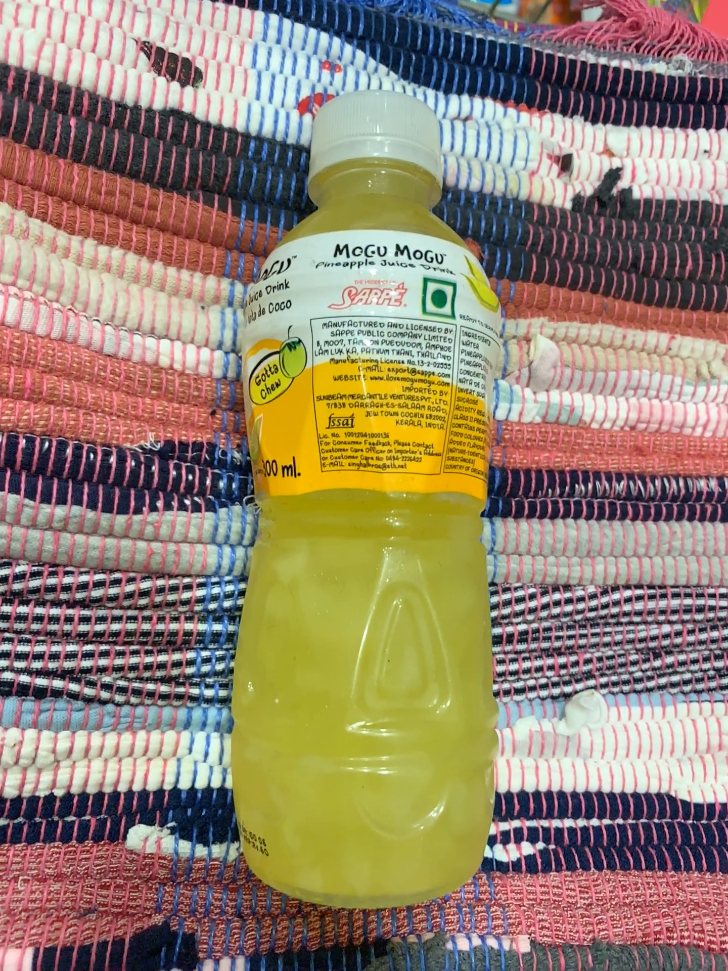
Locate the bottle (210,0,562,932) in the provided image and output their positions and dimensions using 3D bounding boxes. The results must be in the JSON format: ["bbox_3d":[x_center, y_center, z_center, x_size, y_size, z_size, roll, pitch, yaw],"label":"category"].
[{"bbox_3d":[-0.001,-0.015,0.173,0.060,0.050,0.190,2,80,-16],"label":"bottle"}]
